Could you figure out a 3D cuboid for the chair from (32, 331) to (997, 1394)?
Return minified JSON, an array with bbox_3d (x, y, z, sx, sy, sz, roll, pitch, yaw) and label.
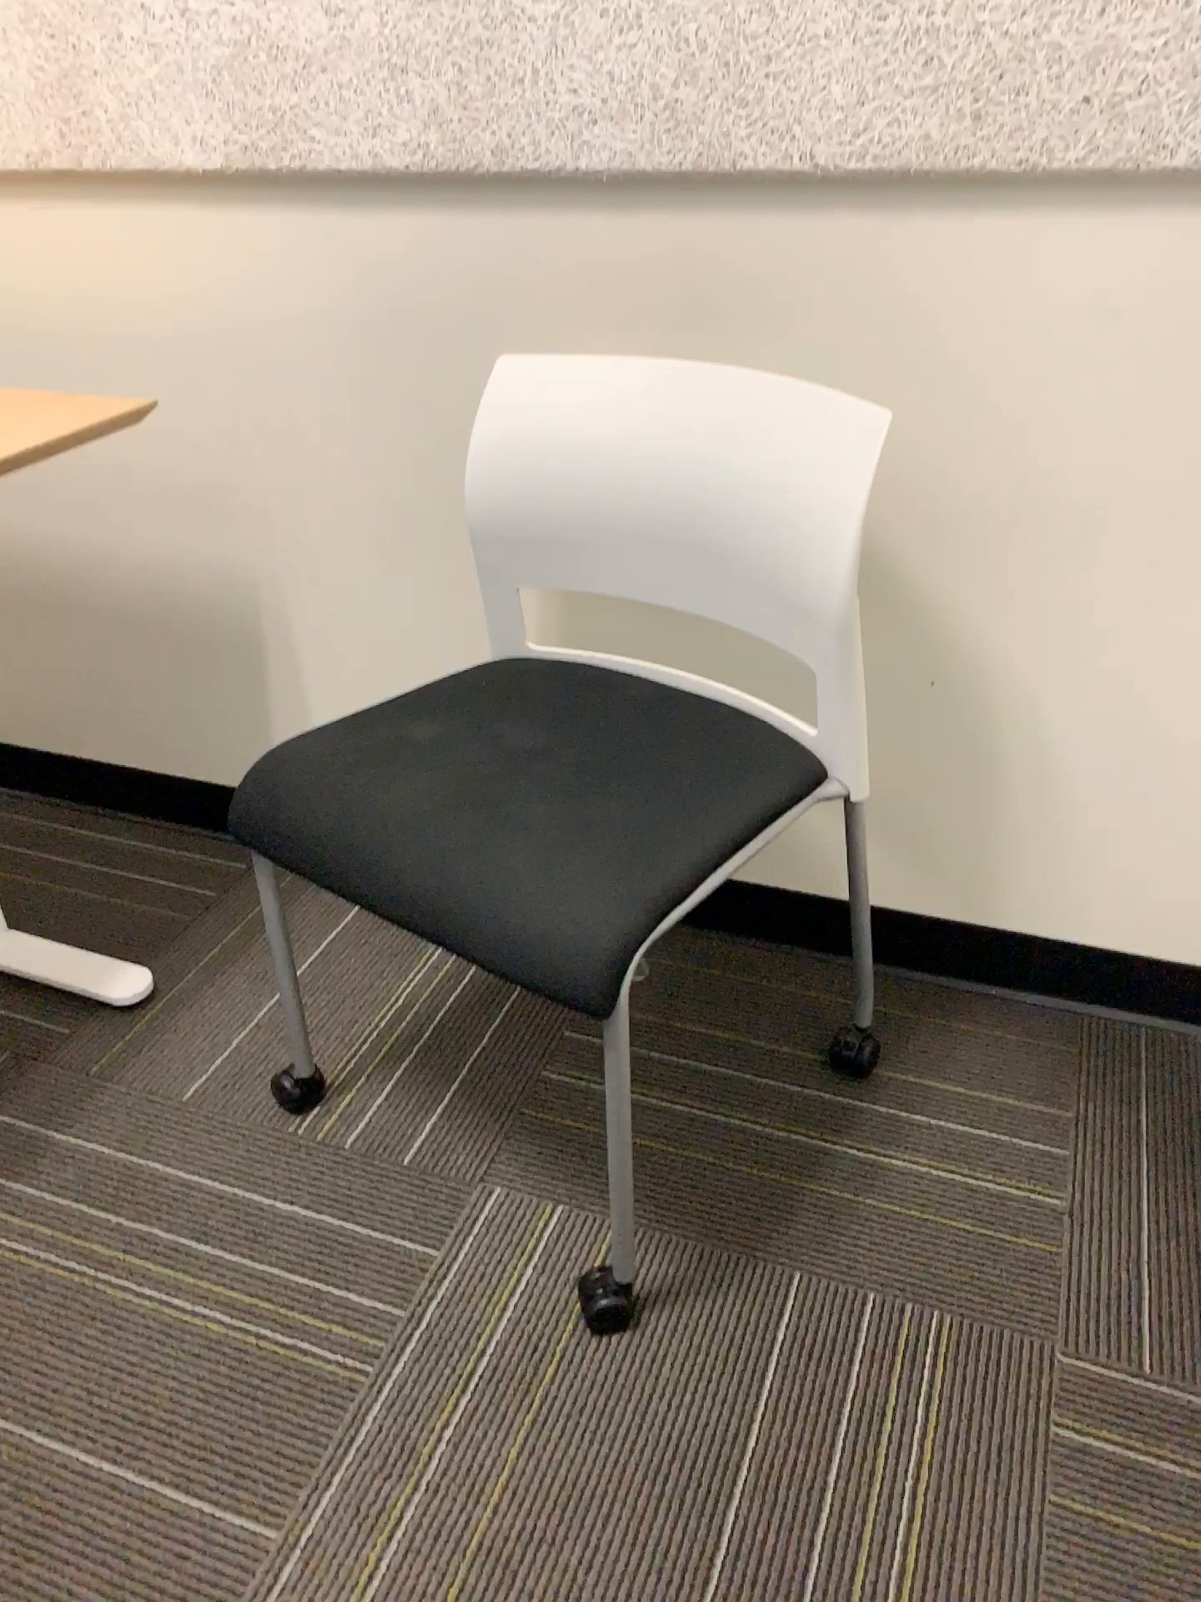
[{"bbox_3d":[-0.044,-0.010,1.304,0.622,0.775,0.622,19,36,30],"label":"chair"}]
